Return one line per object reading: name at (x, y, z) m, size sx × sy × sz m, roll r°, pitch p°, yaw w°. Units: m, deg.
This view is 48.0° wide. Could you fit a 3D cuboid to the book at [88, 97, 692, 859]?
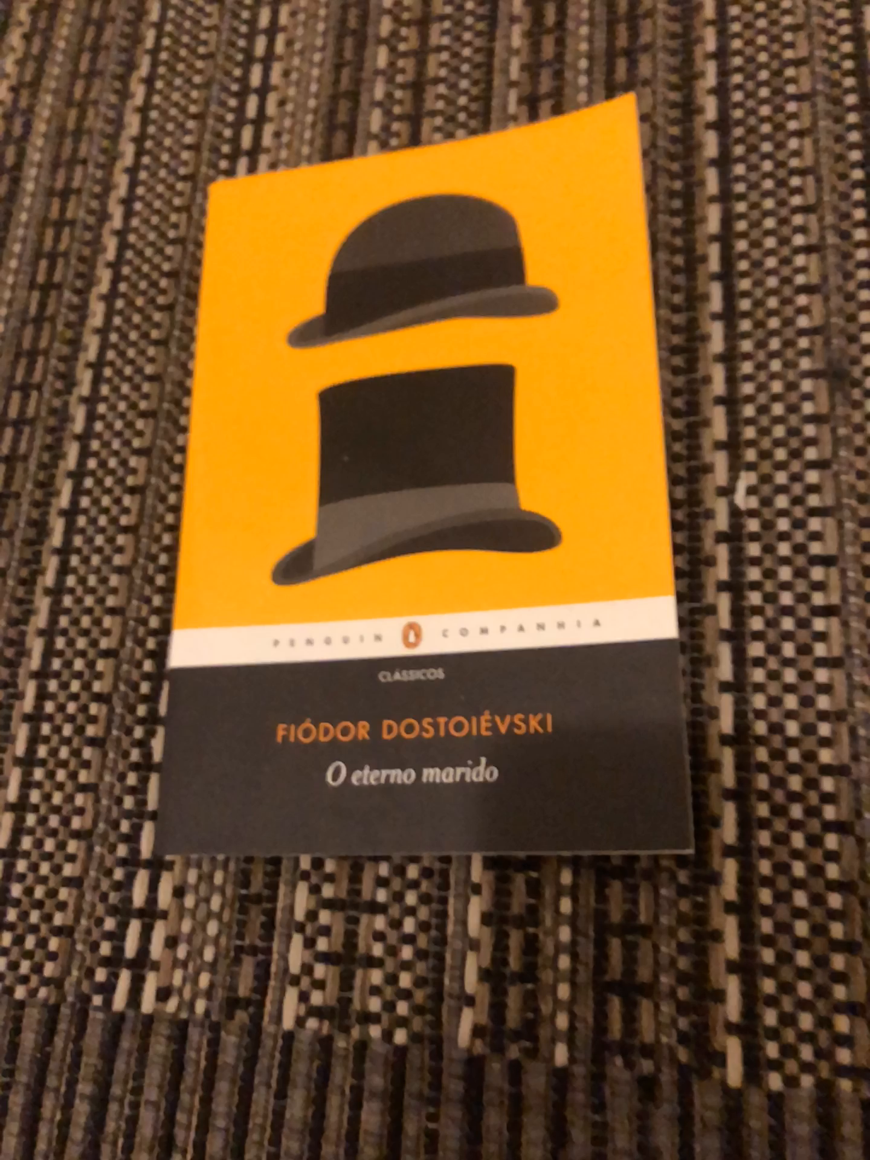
book at (-0.012, -0.026, 0.239) m, size 0.130 × 0.020 × 0.180 m, roll -5°, pitch 71°, yaw 14°
